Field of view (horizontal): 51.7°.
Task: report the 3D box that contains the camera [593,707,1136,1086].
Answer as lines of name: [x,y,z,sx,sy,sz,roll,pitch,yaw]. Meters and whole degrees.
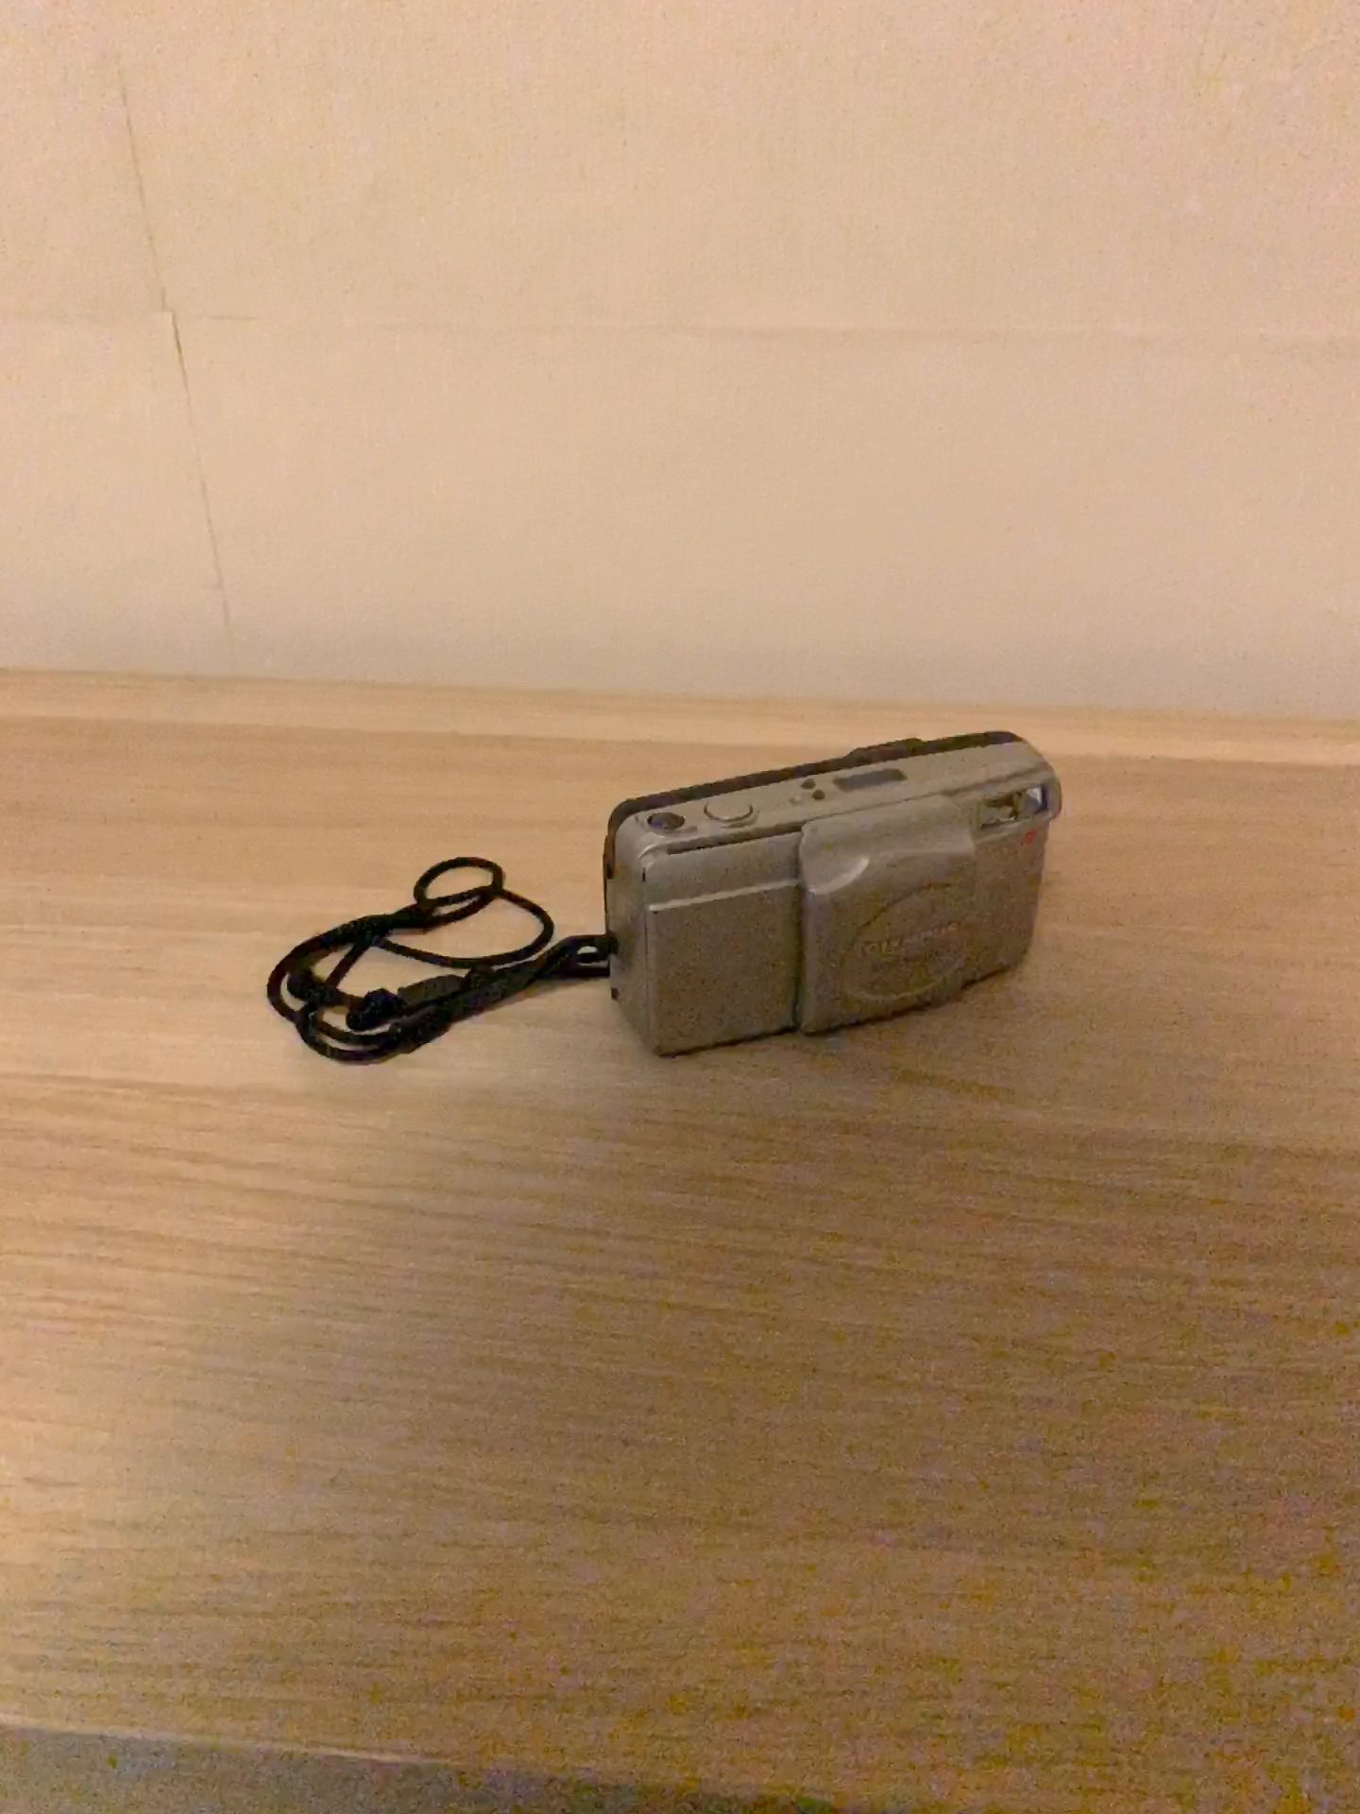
camera: [0.046,-0.006,0.361,0.126,0.059,0.046,-12,34,-17]
